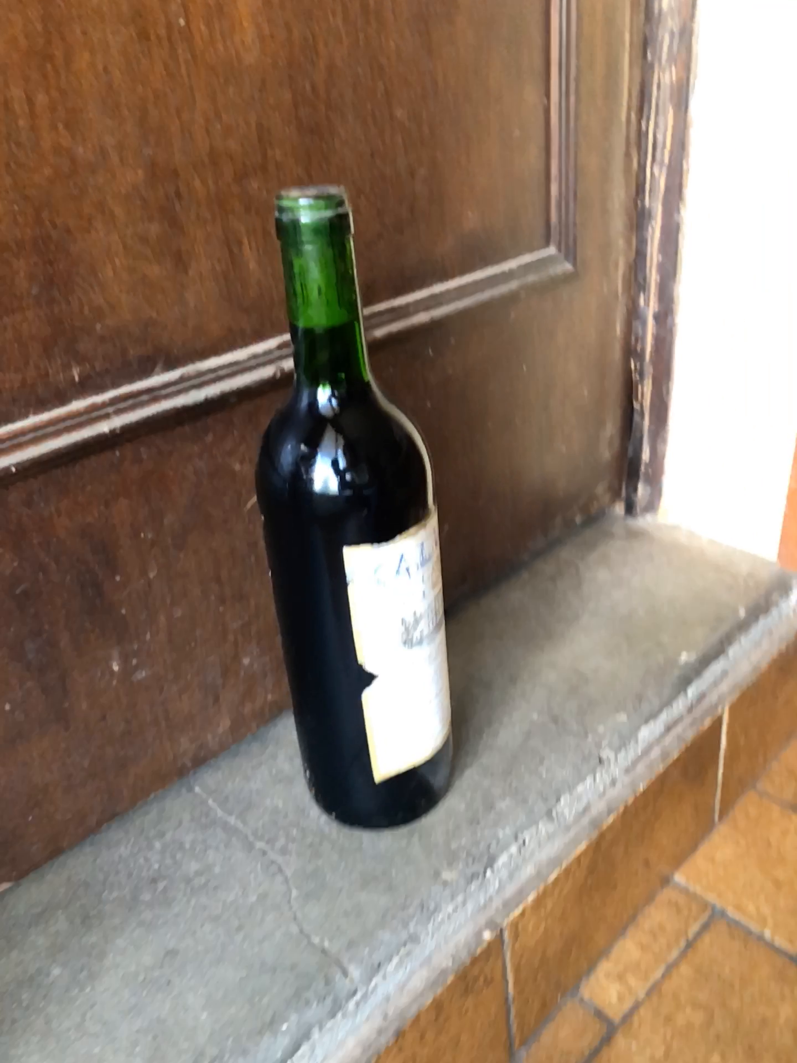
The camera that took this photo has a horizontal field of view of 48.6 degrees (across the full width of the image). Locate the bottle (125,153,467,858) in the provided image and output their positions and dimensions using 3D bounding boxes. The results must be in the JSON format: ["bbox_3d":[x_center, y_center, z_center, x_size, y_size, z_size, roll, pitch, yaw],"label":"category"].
[{"bbox_3d":[-0.026,-0.001,0.368,0.080,0.278,0.081,-4,28,2],"label":"bottle"}]
